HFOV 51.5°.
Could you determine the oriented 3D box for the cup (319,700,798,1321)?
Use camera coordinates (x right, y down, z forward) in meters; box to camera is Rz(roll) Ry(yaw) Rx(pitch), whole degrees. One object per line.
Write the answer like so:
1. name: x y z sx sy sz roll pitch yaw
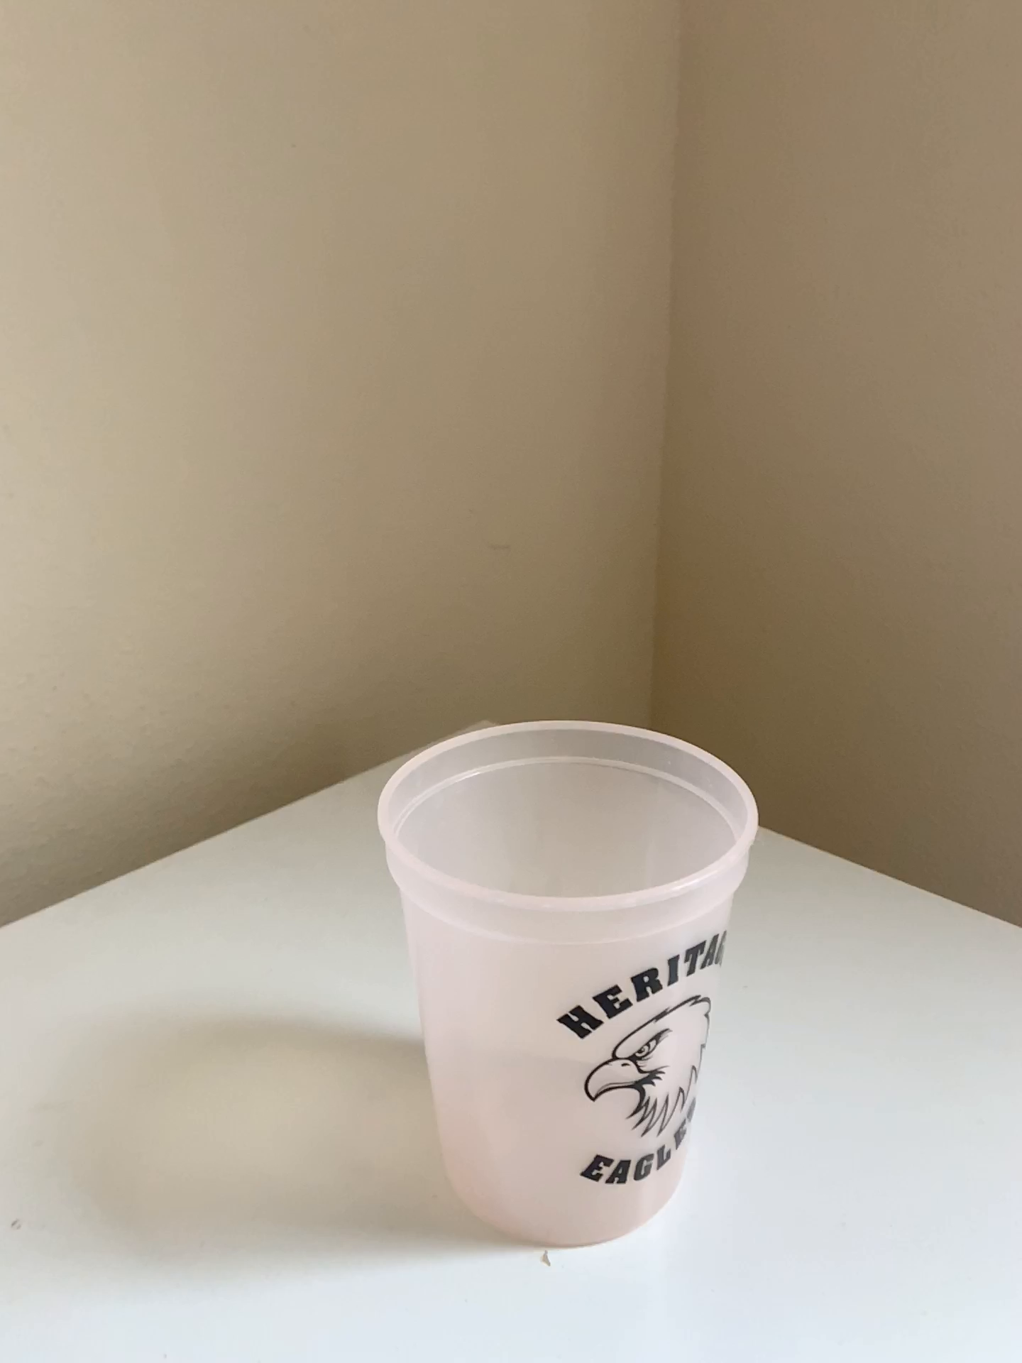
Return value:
1. cup: 0.011 0.078 0.285 0.090 0.110 0.080 -14 25 -31
